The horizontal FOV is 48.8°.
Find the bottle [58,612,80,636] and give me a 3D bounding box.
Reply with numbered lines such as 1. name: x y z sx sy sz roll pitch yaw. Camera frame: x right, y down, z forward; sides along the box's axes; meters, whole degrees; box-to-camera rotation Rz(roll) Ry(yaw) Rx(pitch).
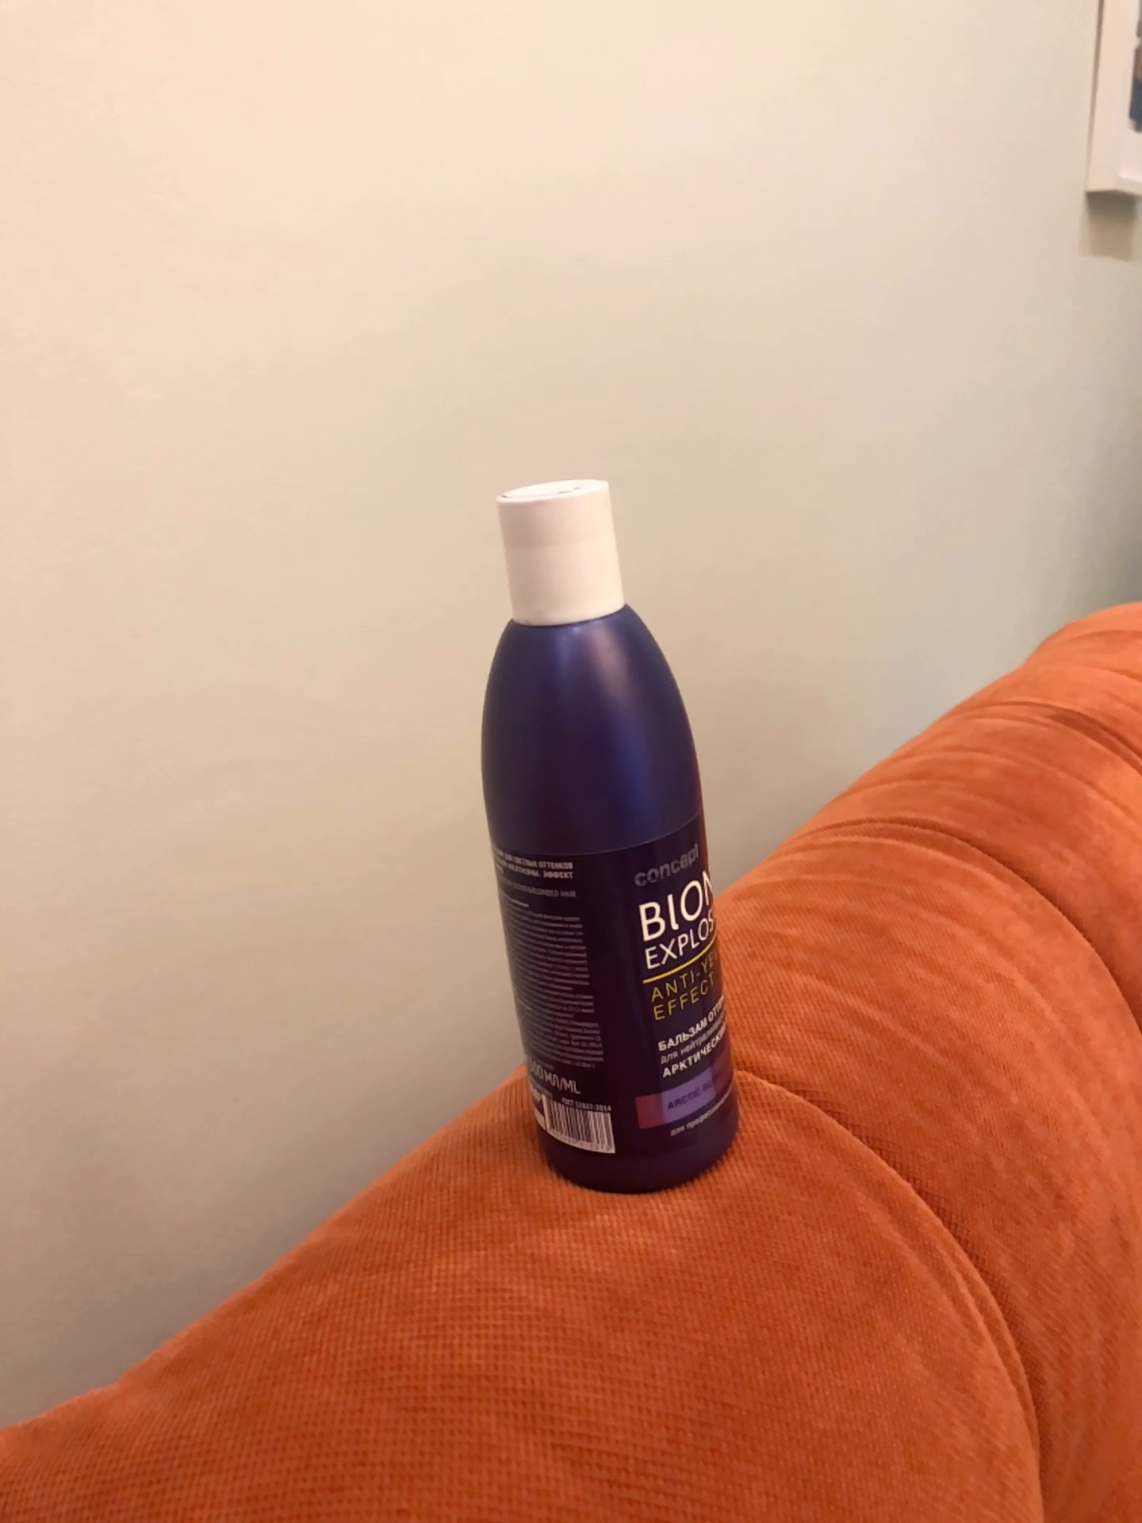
1. bottle: -2.199 -0.603 5.521 0.055 0.092 0.056 -2 17 0
